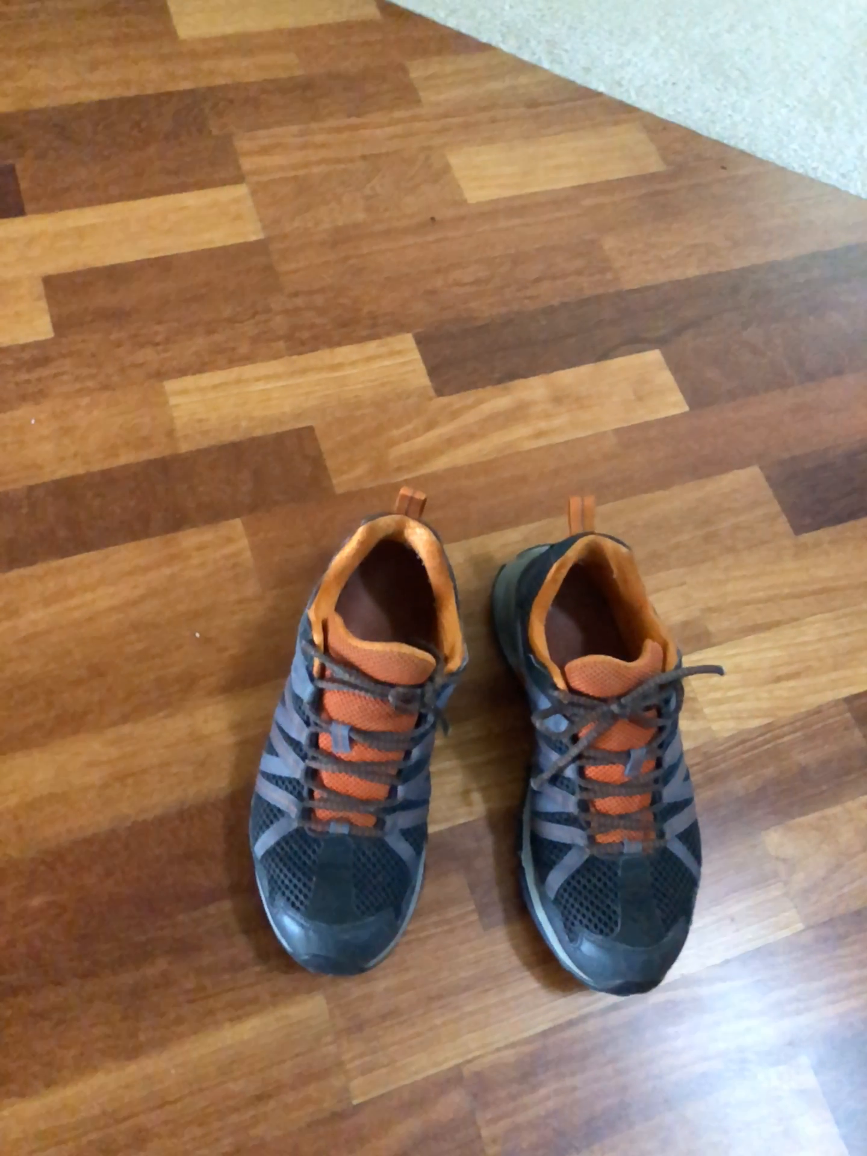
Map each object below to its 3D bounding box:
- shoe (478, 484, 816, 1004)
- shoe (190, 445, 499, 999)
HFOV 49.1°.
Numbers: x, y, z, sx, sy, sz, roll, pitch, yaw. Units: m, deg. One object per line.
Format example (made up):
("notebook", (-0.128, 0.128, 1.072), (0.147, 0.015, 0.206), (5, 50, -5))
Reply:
("shoe", (0.109, 0.095, 0.570), (0.118, 0.117, 0.279), (-2, 64, -8))
("shoe", (-0.043, 0.081, 0.553), (0.113, 0.117, 0.282), (10, 63, -2))
